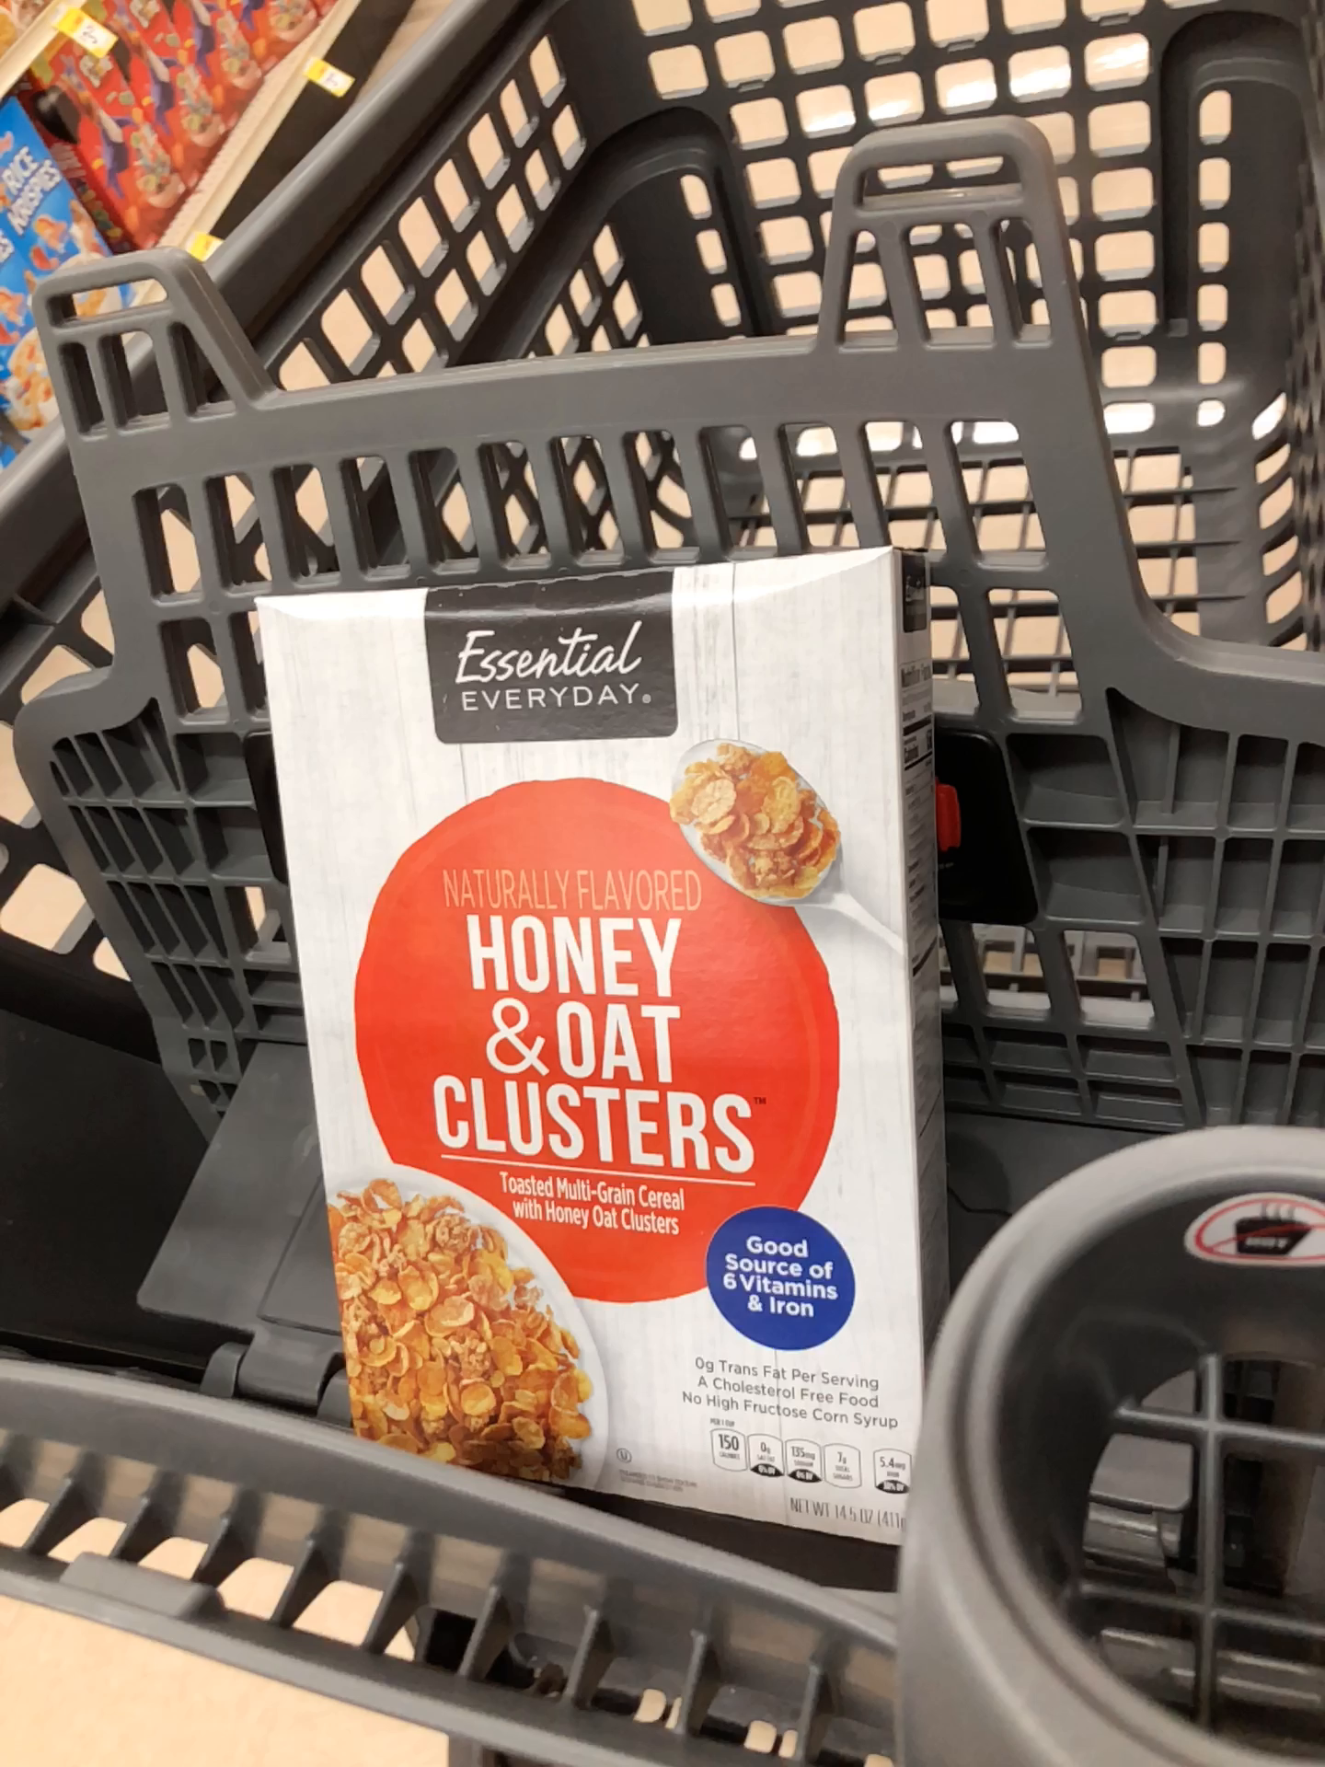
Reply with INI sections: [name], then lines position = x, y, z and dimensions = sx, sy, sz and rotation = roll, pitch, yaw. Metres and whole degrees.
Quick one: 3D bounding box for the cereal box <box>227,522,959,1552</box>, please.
[cereal box]
position = -0.015, 0.042, 0.448
dimensions = 0.190, 0.280, 0.070
rotation = 0, 12, 22
